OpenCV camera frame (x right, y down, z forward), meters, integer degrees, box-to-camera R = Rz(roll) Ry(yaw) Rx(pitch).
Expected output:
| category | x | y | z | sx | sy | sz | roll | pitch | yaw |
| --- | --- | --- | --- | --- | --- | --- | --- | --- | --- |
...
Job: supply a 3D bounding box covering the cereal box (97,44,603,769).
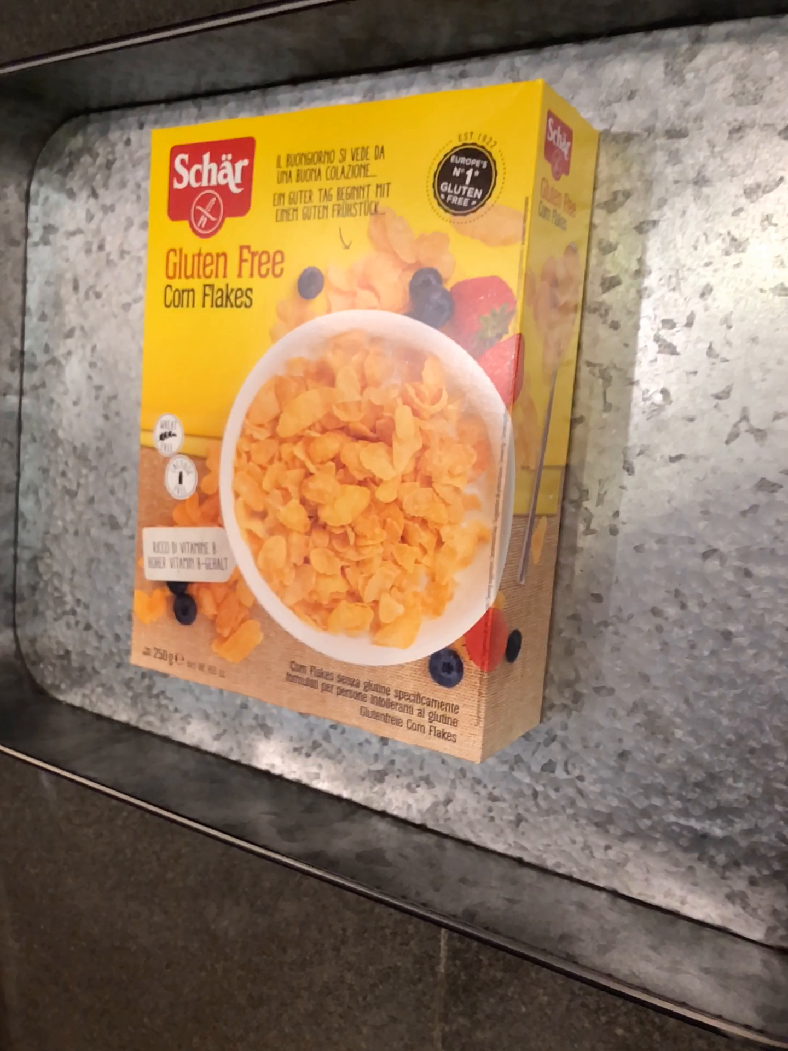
| category | x | y | z | sx | sy | sz | roll | pitch | yaw |
| --- | --- | --- | --- | --- | --- | --- | --- | --- | --- |
| cereal box | -0.030 | -0.050 | 0.384 | 0.201 | 0.070 | 0.250 | 9 | 99 | 30 |
